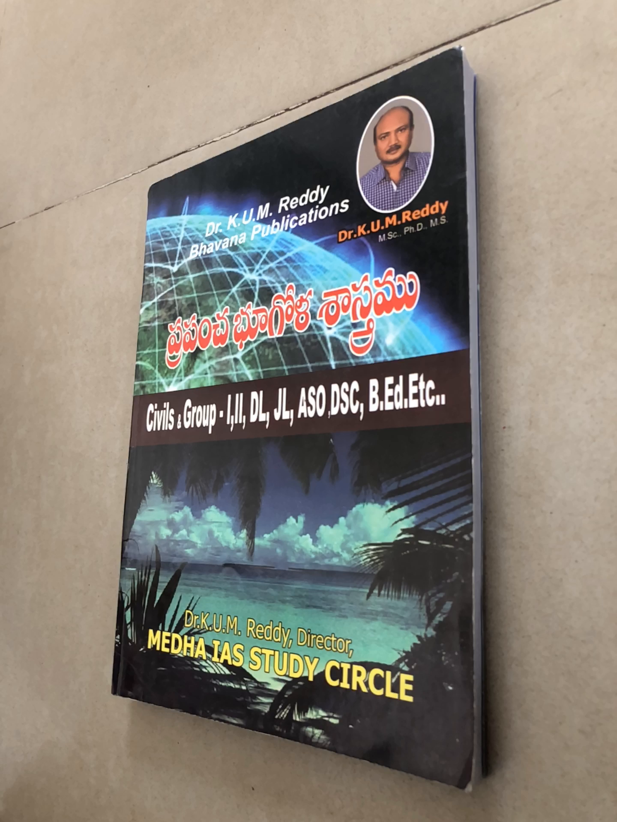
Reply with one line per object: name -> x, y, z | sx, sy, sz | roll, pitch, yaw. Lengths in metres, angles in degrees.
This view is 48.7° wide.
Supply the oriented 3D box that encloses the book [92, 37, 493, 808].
book -> -0.017, 0.001, 0.293 | 0.181, 0.030, 0.260 | -6, 78, 37
